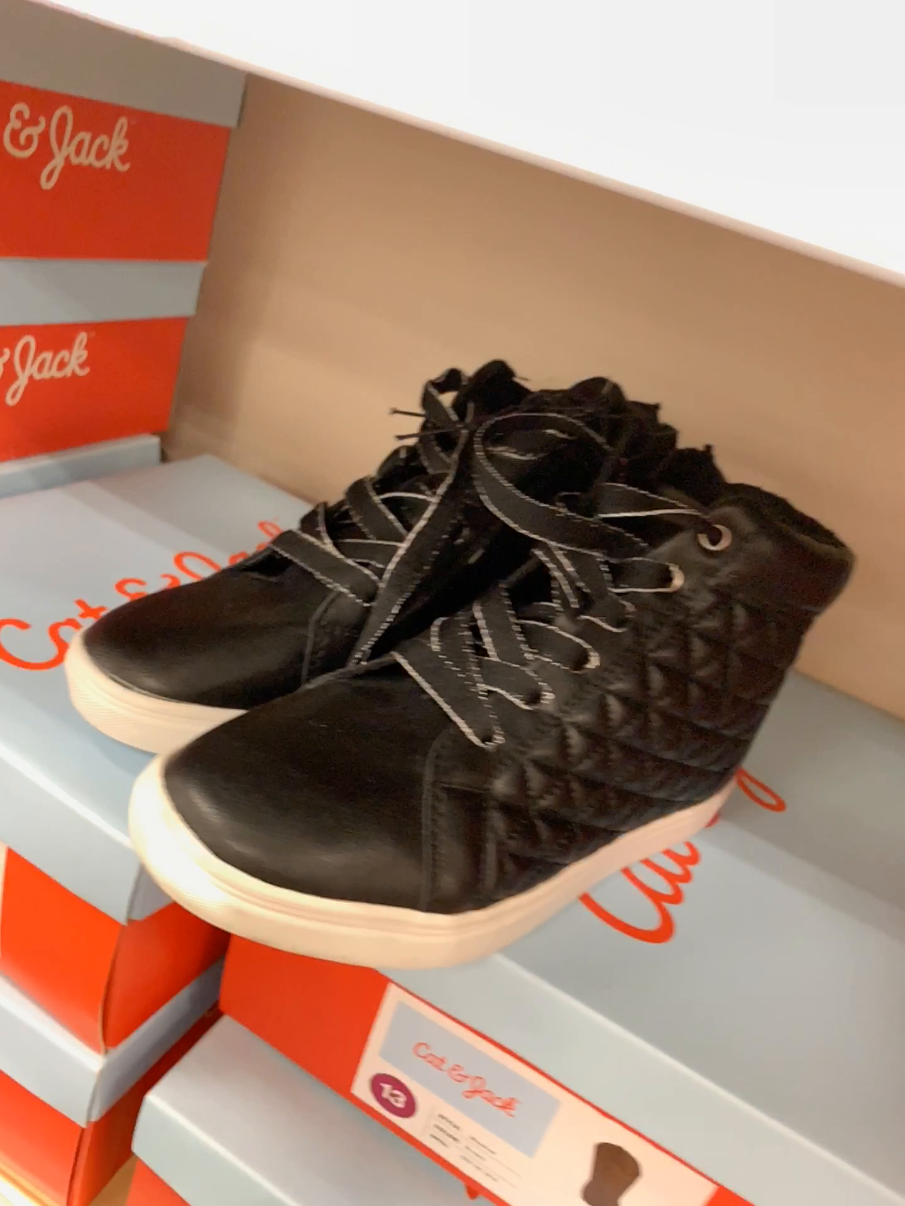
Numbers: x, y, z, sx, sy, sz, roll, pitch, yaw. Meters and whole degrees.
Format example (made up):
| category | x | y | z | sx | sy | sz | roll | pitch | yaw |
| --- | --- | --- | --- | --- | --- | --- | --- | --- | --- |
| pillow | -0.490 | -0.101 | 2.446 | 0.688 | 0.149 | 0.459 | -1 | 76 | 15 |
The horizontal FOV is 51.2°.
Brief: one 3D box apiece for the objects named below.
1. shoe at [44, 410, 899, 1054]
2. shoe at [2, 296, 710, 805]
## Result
| category | x | y | z | sx | sy | sz | roll | pitch | yaw |
| --- | --- | --- | --- | --- | --- | --- | --- | --- | --- |
| shoe | 0.014 | 0.013 | 0.289 | 0.230 | 0.109 | 0.100 | -9 | 37 | -40 |
| shoe | -0.030 | -0.031 | 0.358 | 0.230 | 0.119 | 0.100 | -9 | 37 | -40 |
